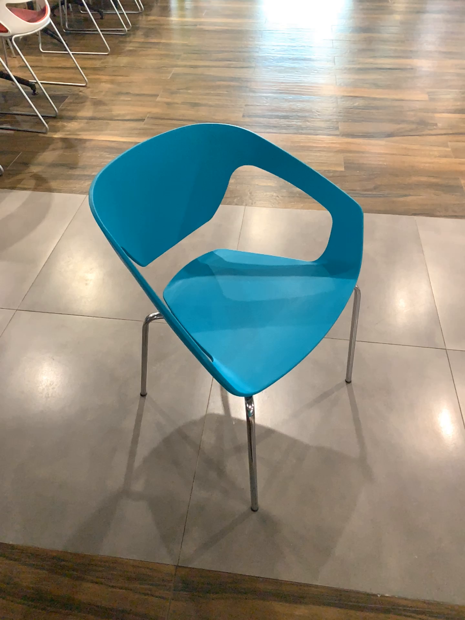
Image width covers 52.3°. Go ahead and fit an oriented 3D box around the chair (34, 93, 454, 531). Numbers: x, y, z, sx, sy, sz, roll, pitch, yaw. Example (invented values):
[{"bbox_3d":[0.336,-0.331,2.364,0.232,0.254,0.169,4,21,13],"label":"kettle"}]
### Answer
[{"bbox_3d":[0.044,-0.011,1.204,0.592,0.724,0.613,29,53,26],"label":"chair"}]
